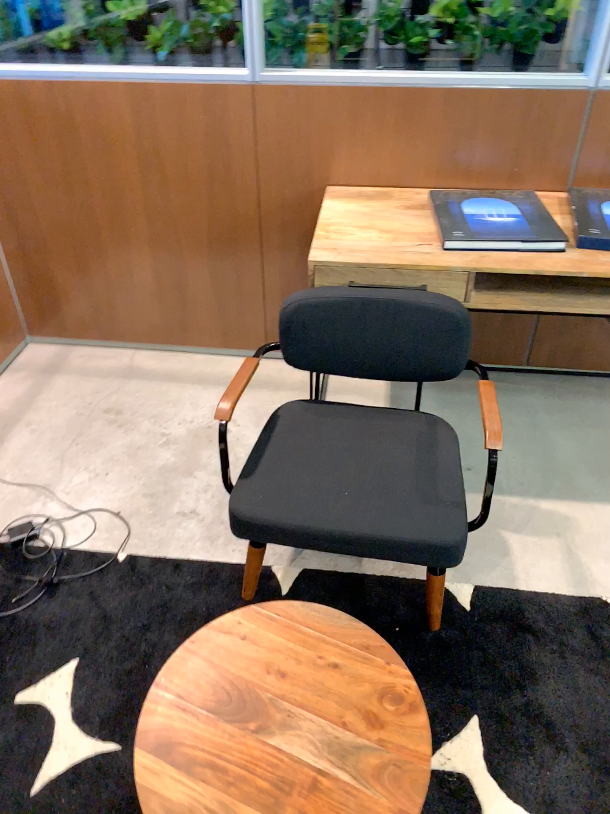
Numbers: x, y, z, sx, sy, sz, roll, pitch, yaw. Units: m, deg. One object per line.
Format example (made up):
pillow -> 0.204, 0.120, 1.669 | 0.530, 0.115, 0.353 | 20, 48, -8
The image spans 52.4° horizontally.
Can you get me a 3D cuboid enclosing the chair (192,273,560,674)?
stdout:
chair -> 0.186, 0.179, 1.771 | 0.751, 0.875, 0.613 | 6, 38, 8
